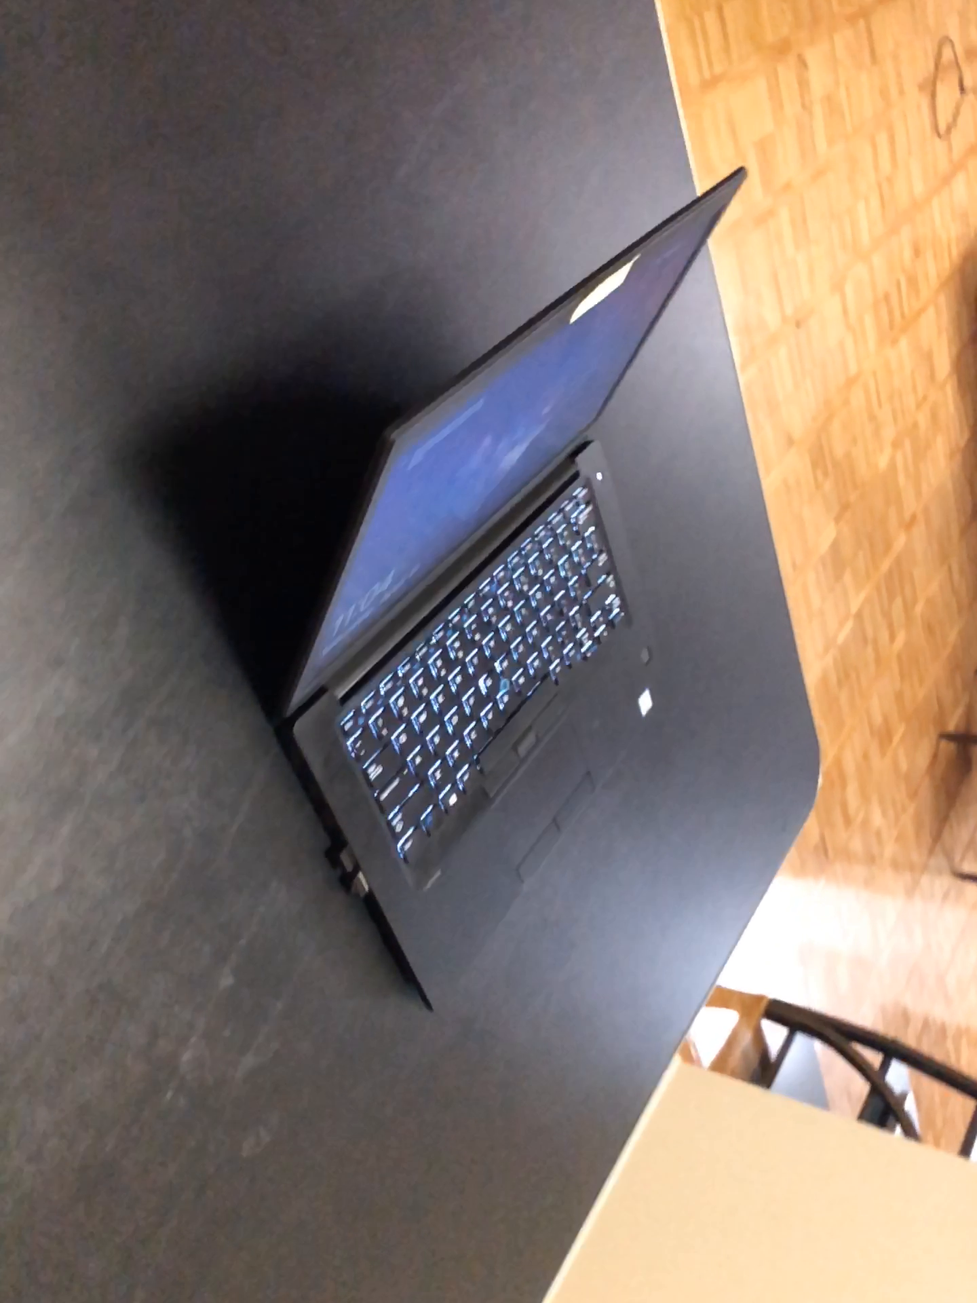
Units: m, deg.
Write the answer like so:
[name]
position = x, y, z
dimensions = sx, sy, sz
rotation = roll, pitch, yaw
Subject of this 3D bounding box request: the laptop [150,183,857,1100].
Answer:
[laptop]
position = 0.055, -0.016, 0.611
dimensions = 0.321, 0.140, 0.368
rotation = -47, 126, -38
